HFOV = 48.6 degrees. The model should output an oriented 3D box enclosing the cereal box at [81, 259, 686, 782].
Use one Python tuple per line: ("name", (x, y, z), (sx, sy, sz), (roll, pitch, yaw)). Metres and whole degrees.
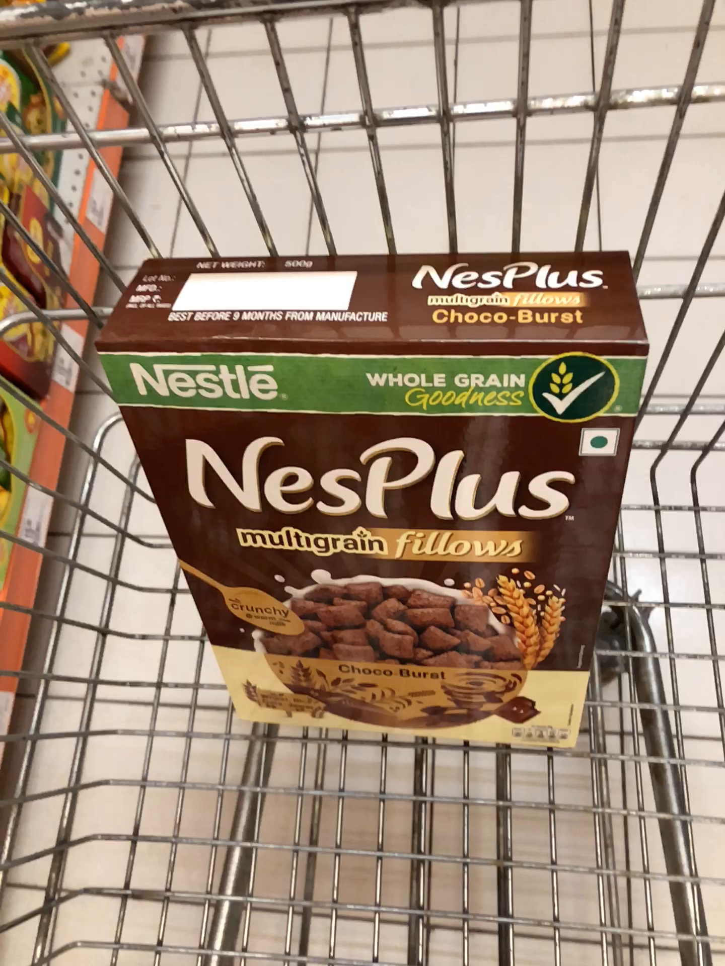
("cereal box", (0.017, 0.034, 0.359), (0.190, 0.259, 0.060), (2, 44, 10))
